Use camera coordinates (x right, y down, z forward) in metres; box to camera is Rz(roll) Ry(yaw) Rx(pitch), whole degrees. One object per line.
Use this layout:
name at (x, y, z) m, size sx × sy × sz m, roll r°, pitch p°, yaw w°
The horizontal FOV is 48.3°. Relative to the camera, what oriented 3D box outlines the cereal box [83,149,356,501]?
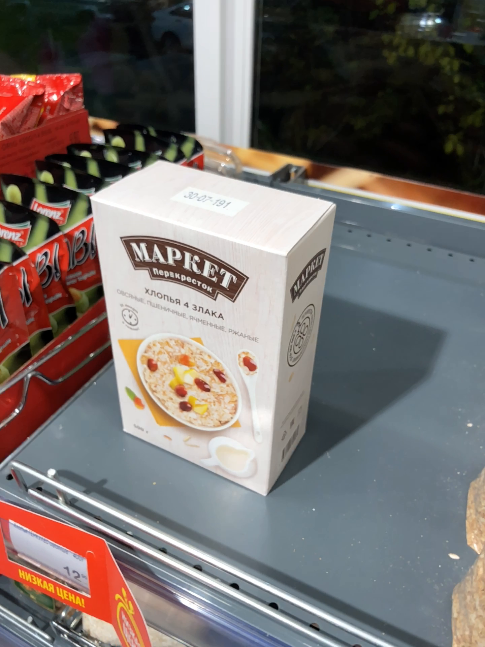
cereal box at (-0.015, 0.003, 0.348) m, size 0.130 × 0.189 × 0.070 m, roll 19°, pitch 40°, yaw 21°
